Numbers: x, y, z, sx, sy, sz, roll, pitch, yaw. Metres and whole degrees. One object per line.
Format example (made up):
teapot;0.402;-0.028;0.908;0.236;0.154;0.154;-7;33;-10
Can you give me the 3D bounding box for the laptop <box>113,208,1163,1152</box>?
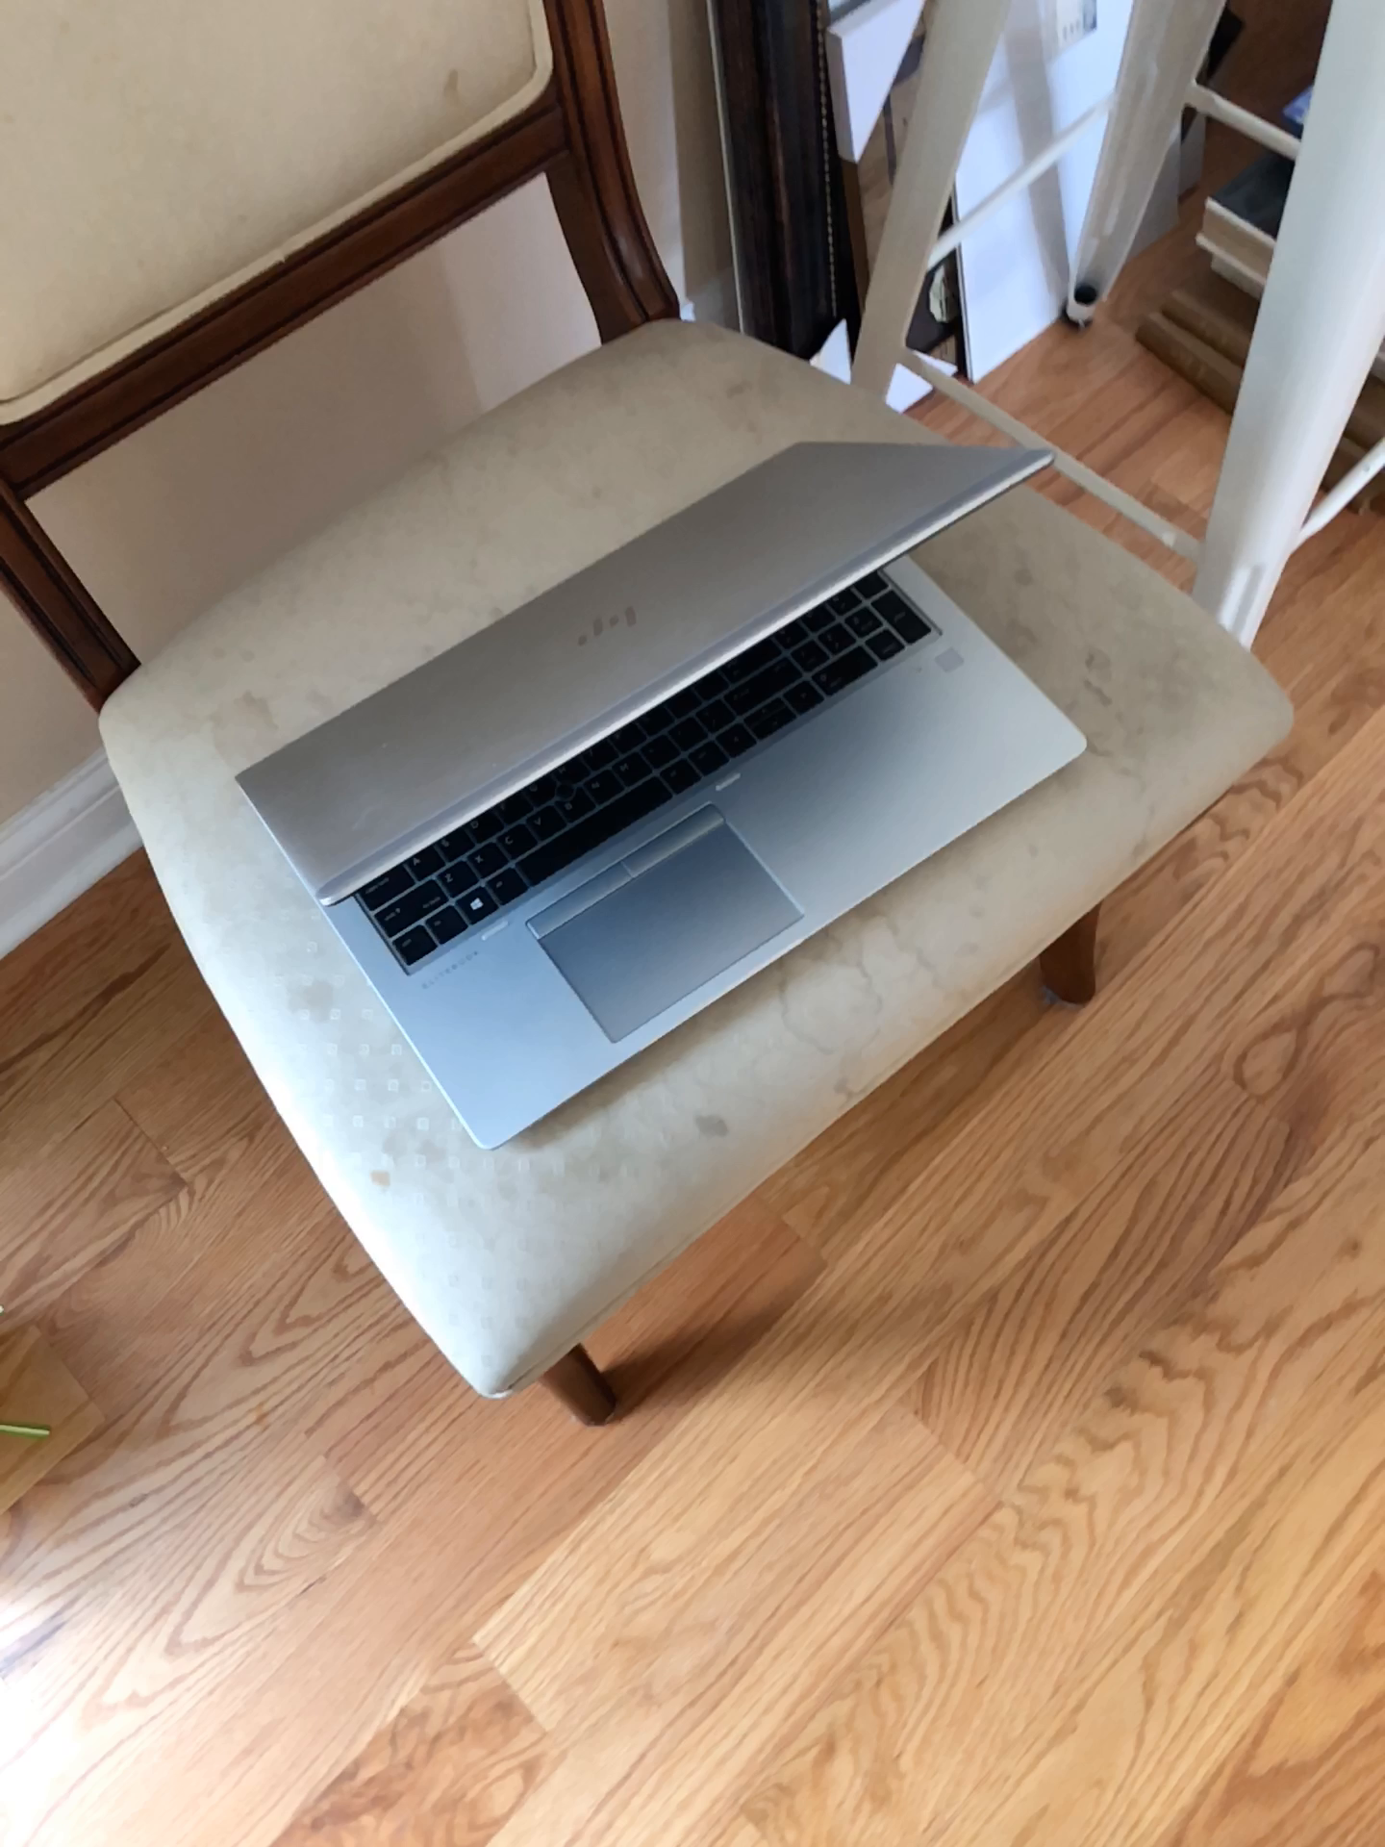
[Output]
laptop;-0.022;-0.116;0.711;0.365;0.159;0.244;-33;68;-11
